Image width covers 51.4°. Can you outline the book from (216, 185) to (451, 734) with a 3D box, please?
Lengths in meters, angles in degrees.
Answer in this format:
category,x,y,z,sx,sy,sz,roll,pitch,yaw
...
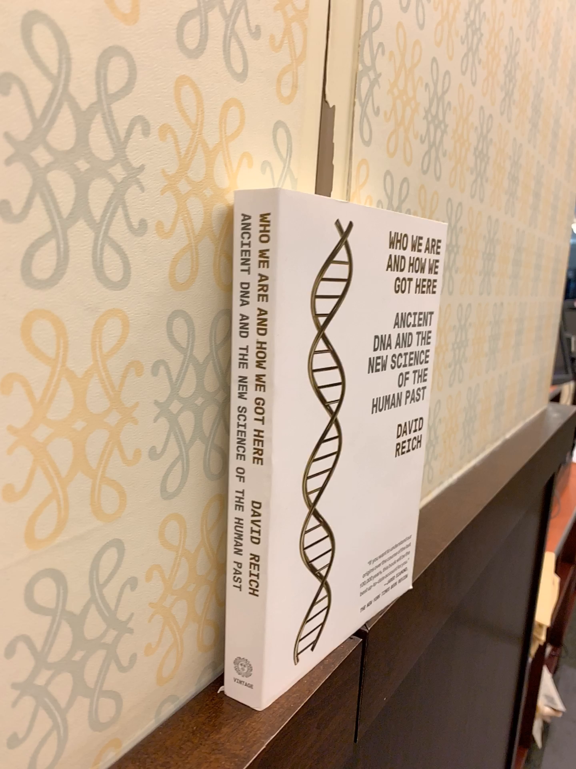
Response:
category,x,y,z,sx,sy,sz,roll,pitch,yaw
book,0.026,0.023,0.275,0.041,0.199,0.127,8,10,32
